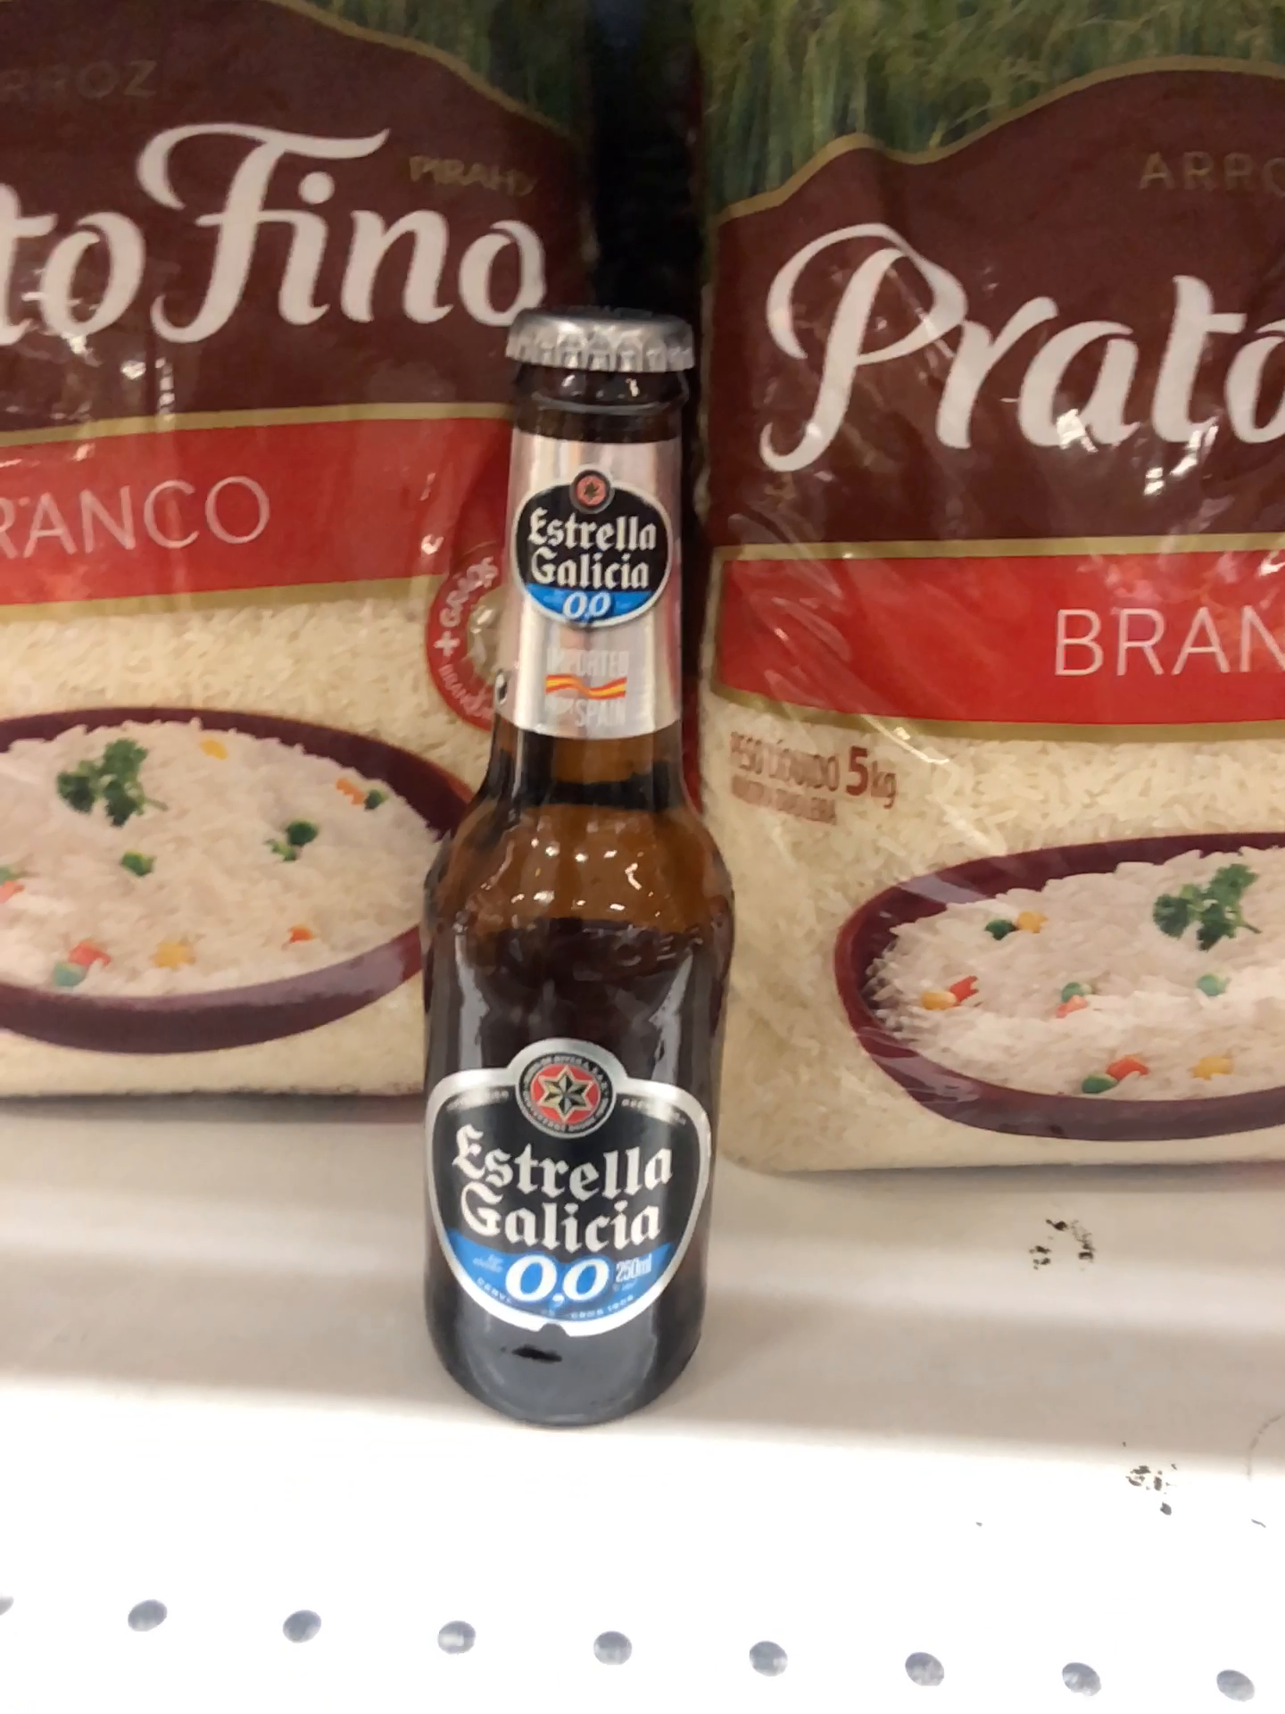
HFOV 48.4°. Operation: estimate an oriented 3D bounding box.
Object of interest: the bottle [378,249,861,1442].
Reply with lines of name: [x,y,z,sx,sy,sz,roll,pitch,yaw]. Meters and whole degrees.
bottle: [-0.006,0.002,0.243,0.060,0.189,0.060,3,25,-1]
